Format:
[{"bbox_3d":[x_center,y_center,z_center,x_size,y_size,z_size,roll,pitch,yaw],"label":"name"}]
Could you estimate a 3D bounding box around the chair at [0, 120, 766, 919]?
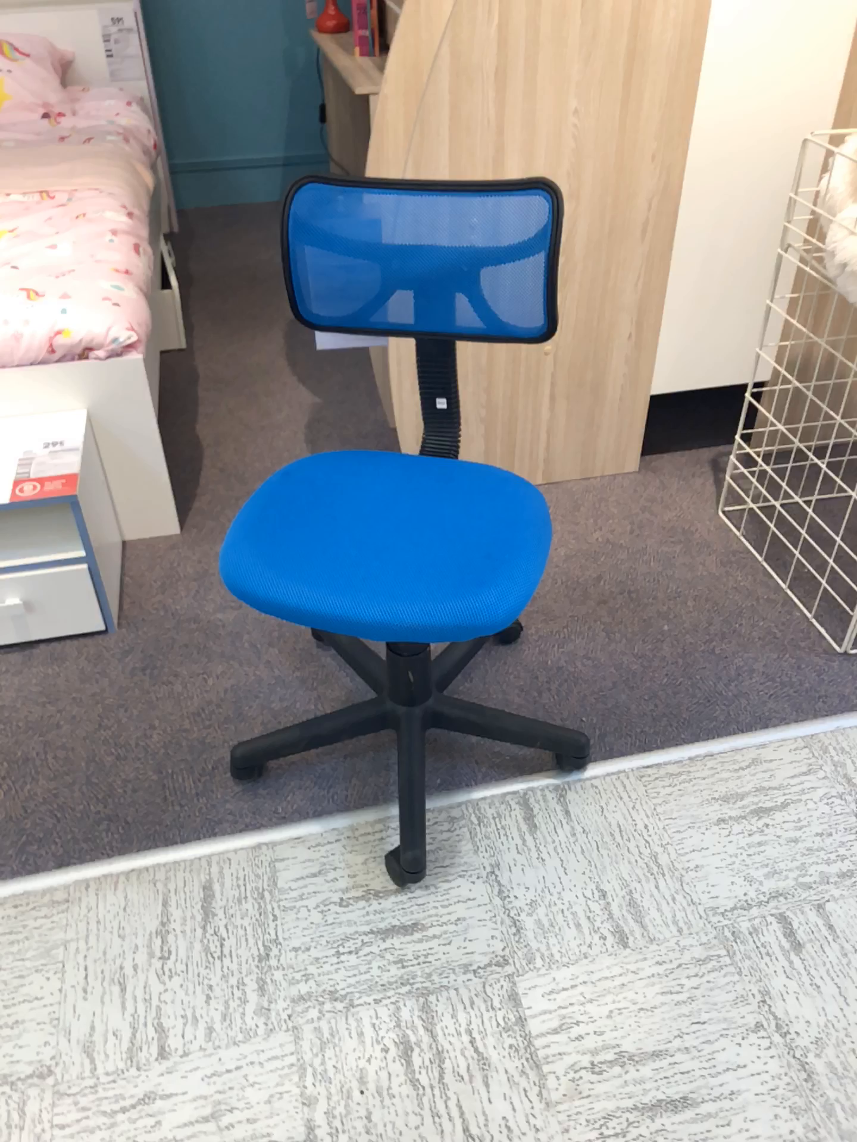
[{"bbox_3d":[-0.044,-0.073,1.215,0.660,0.795,0.614,3,38,4],"label":"chair"}]
